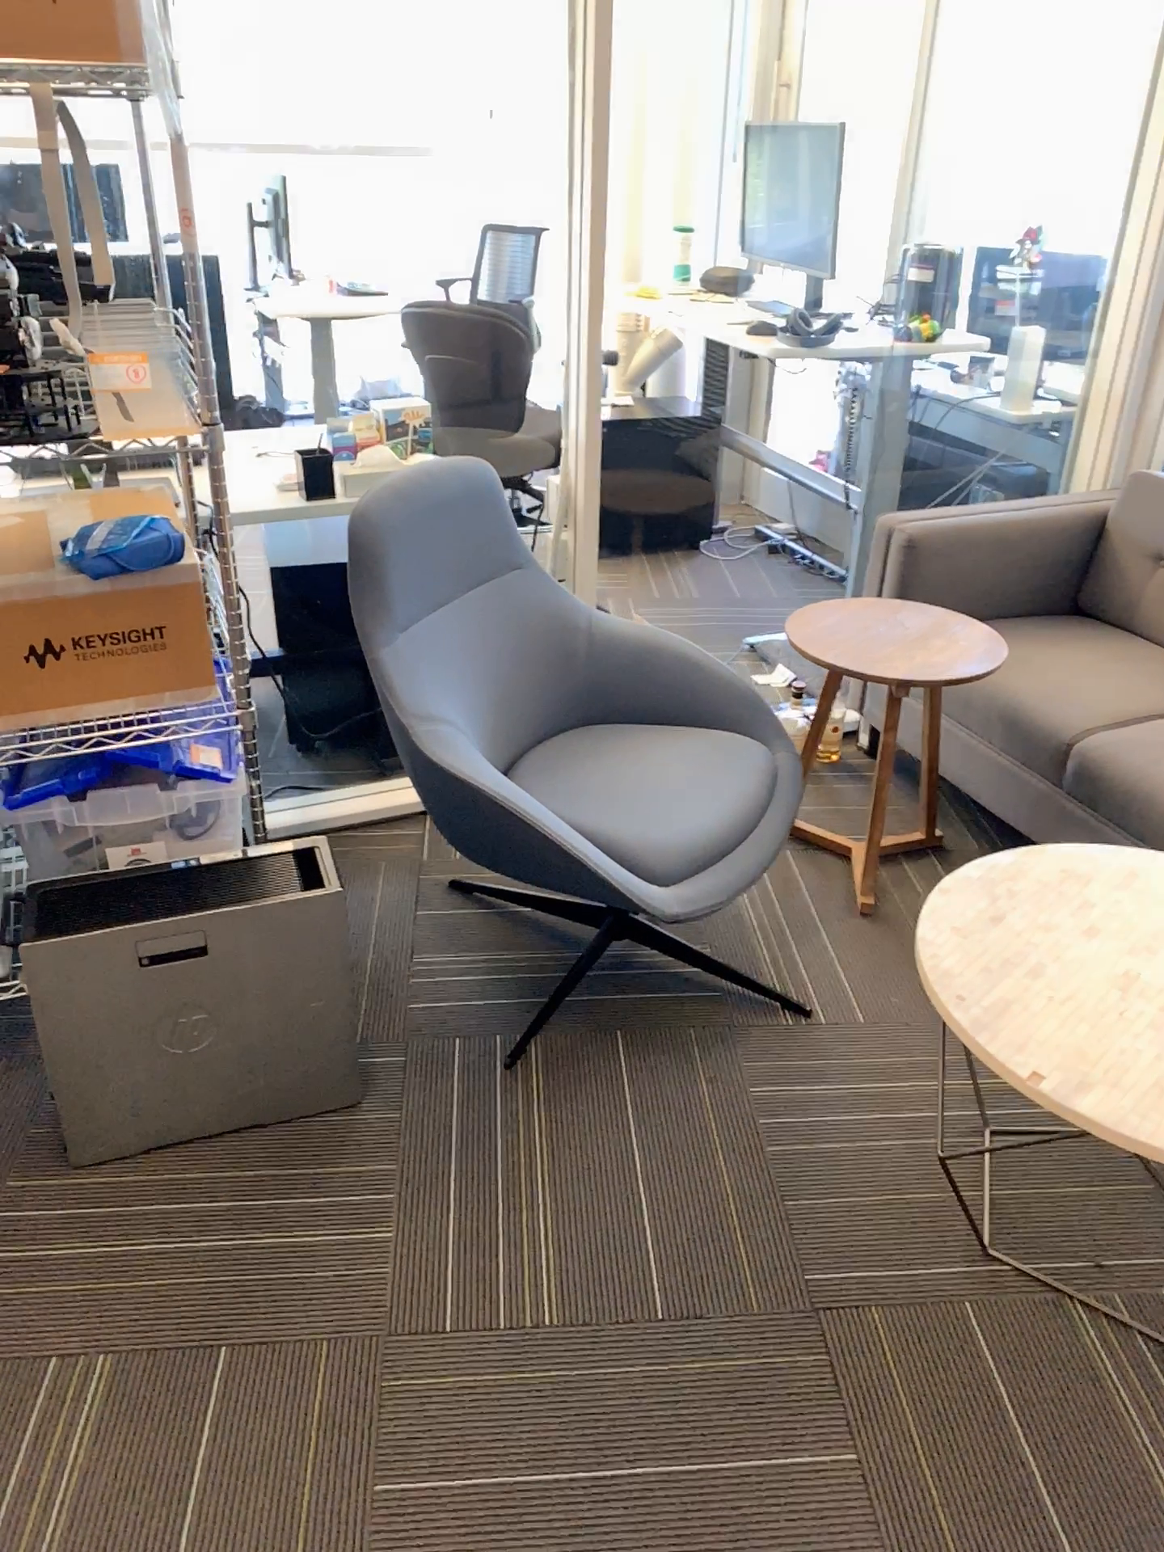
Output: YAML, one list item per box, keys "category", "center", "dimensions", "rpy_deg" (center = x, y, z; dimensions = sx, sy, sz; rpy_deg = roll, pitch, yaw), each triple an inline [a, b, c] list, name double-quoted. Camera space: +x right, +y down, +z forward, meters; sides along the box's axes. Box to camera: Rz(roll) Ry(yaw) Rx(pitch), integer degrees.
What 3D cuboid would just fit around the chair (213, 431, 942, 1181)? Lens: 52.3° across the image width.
- category: "chair"
  center: [0.013, -0.041, 2.322]
  dimensions: [1.003, 0.964, 0.843]
  rpy_deg: [17, 32, 26]
